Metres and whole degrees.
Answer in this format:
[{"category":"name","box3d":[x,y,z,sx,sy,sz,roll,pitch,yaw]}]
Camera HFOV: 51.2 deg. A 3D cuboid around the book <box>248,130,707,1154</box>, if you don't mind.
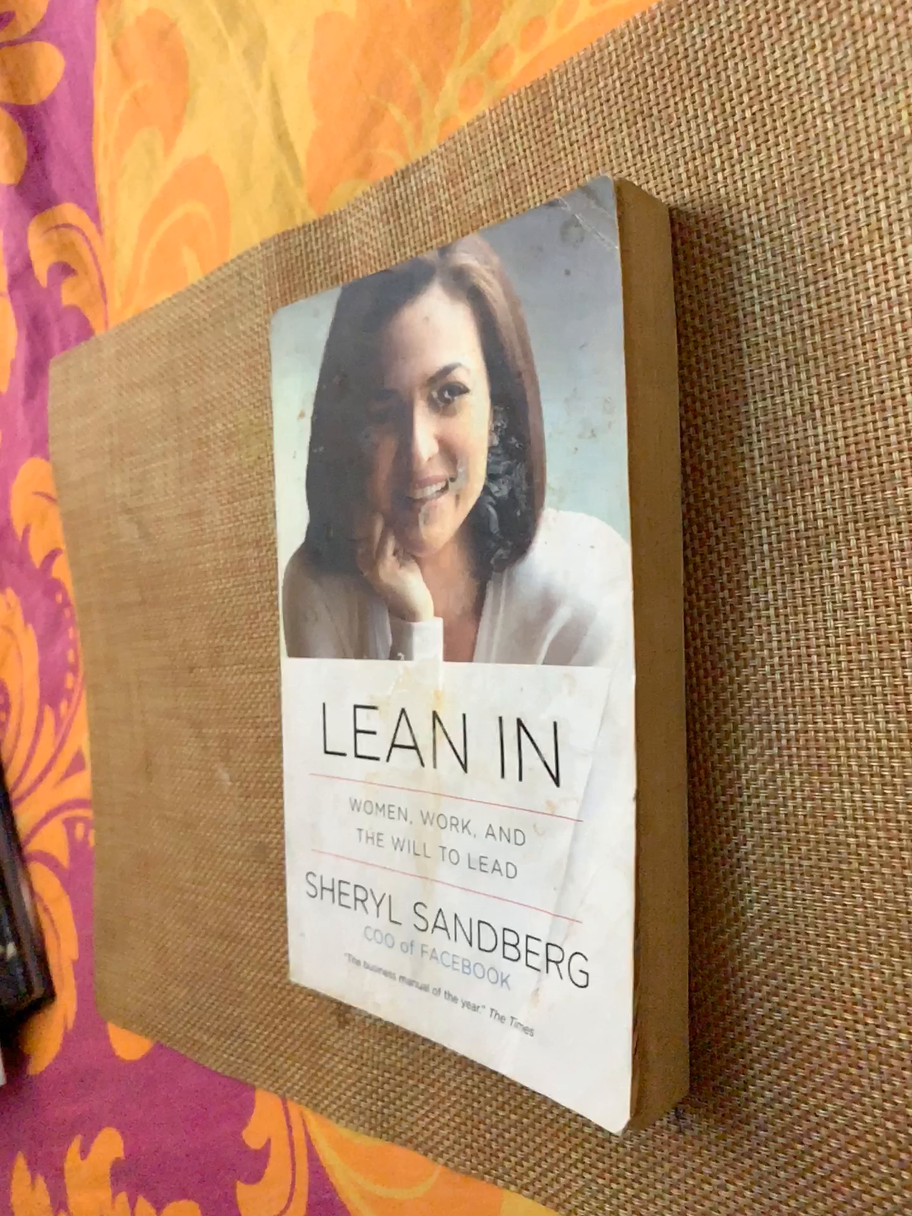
[{"category":"book","box3d":[-0.005,0.008,0.257,0.141,0.026,0.212,-3,87,46]}]
